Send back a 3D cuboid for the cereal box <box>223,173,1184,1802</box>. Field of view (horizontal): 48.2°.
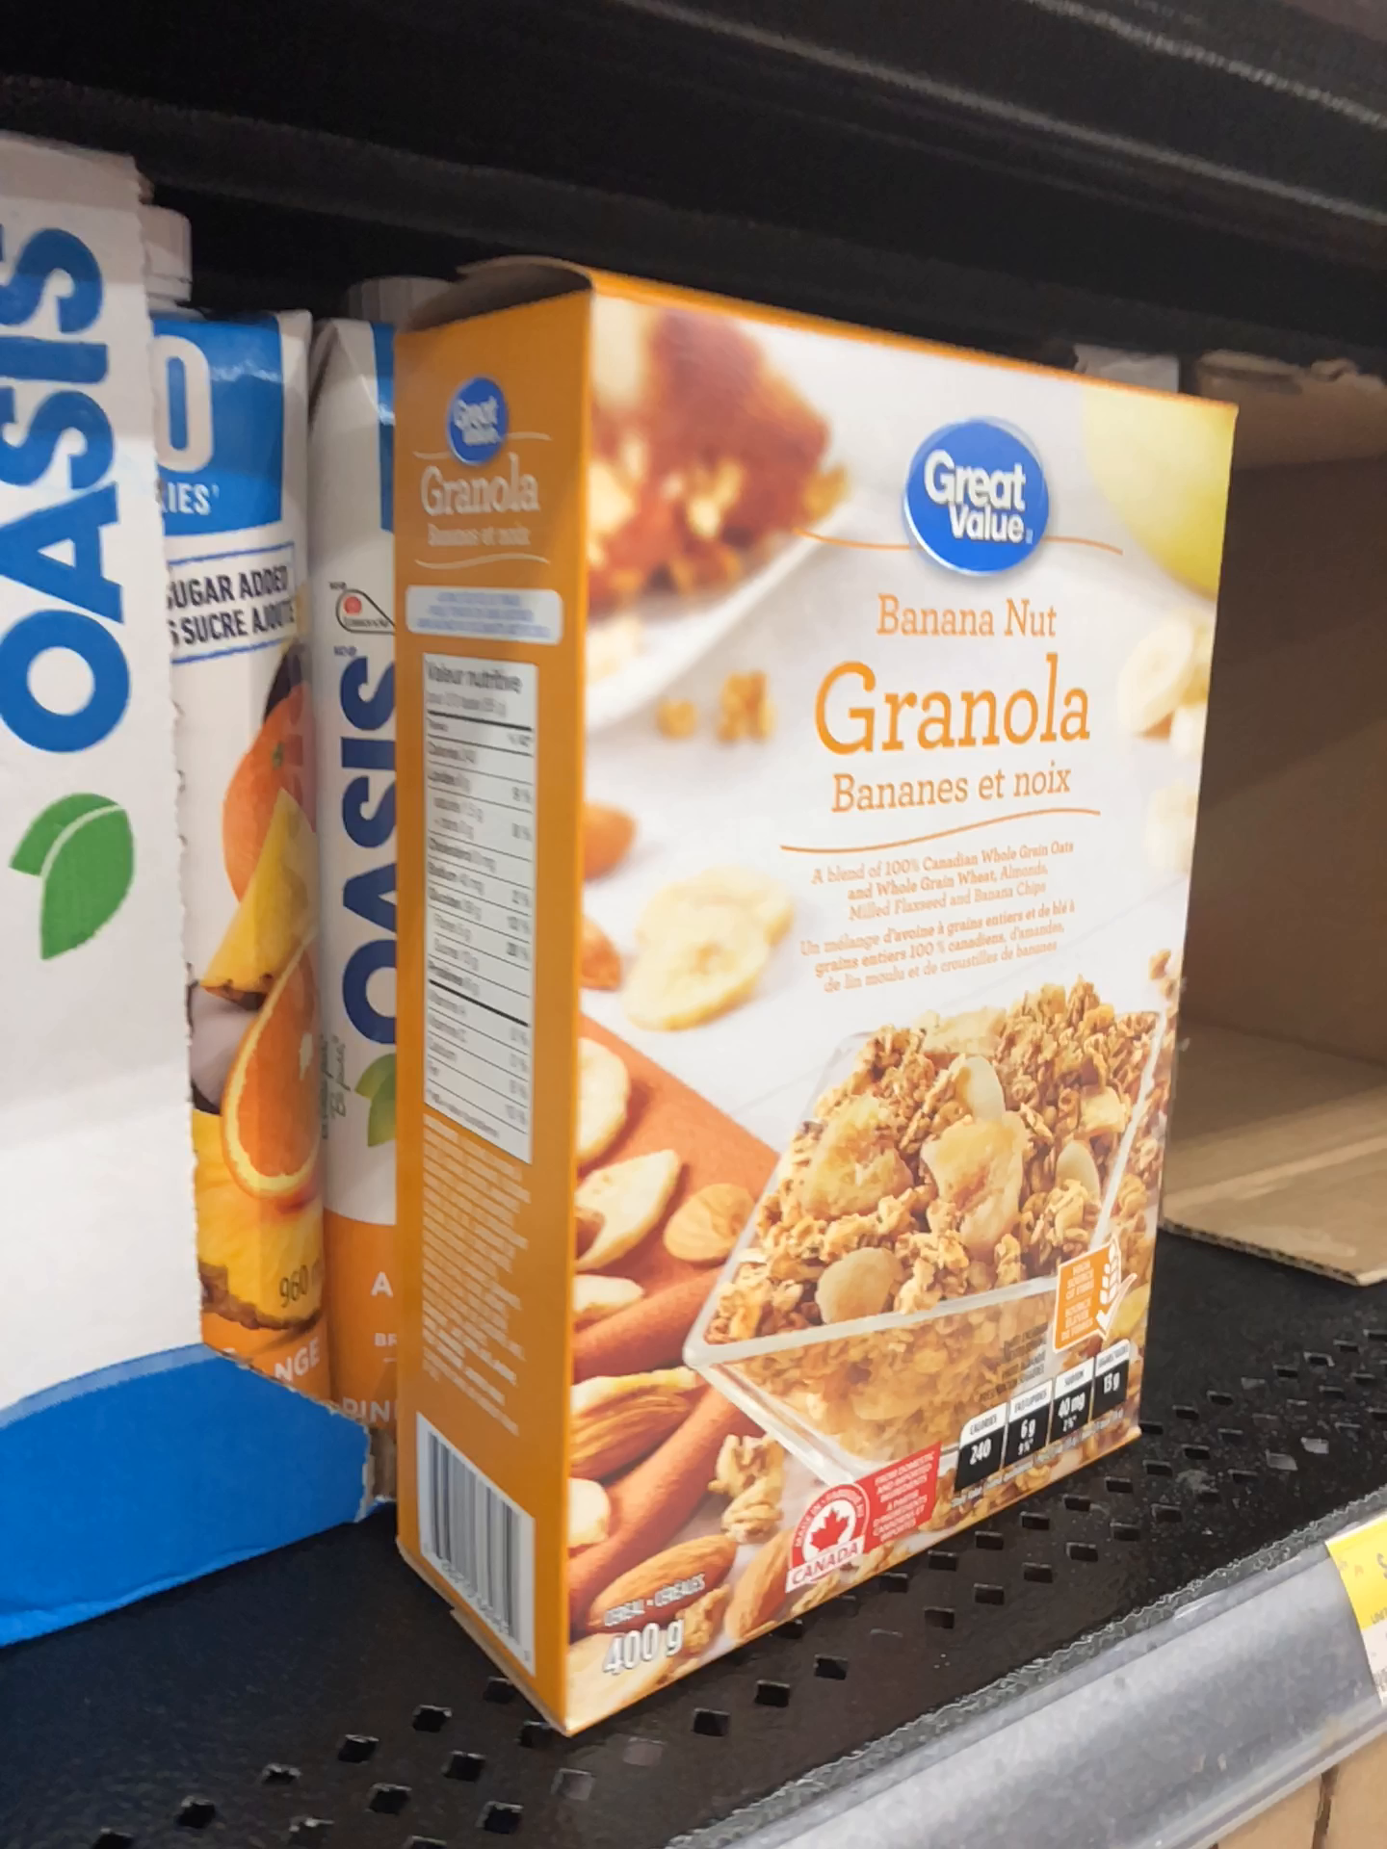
[{"bbox_3d":[0.008,0.006,0.278,0.160,0.220,0.060,-7,13,-40],"label":"cereal box"}]
